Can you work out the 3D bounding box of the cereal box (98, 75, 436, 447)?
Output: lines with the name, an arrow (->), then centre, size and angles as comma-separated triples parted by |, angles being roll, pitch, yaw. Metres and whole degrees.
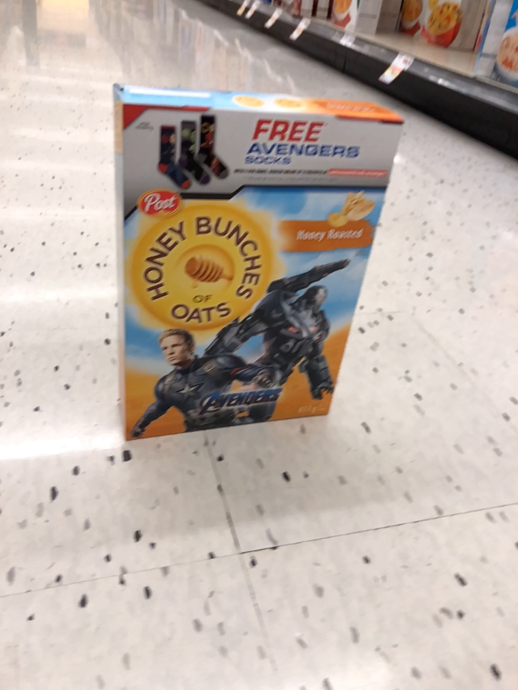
cereal box -> -0.008, -0.052, 0.436 | 0.210, 0.258, 0.060 | -5, 35, -20
